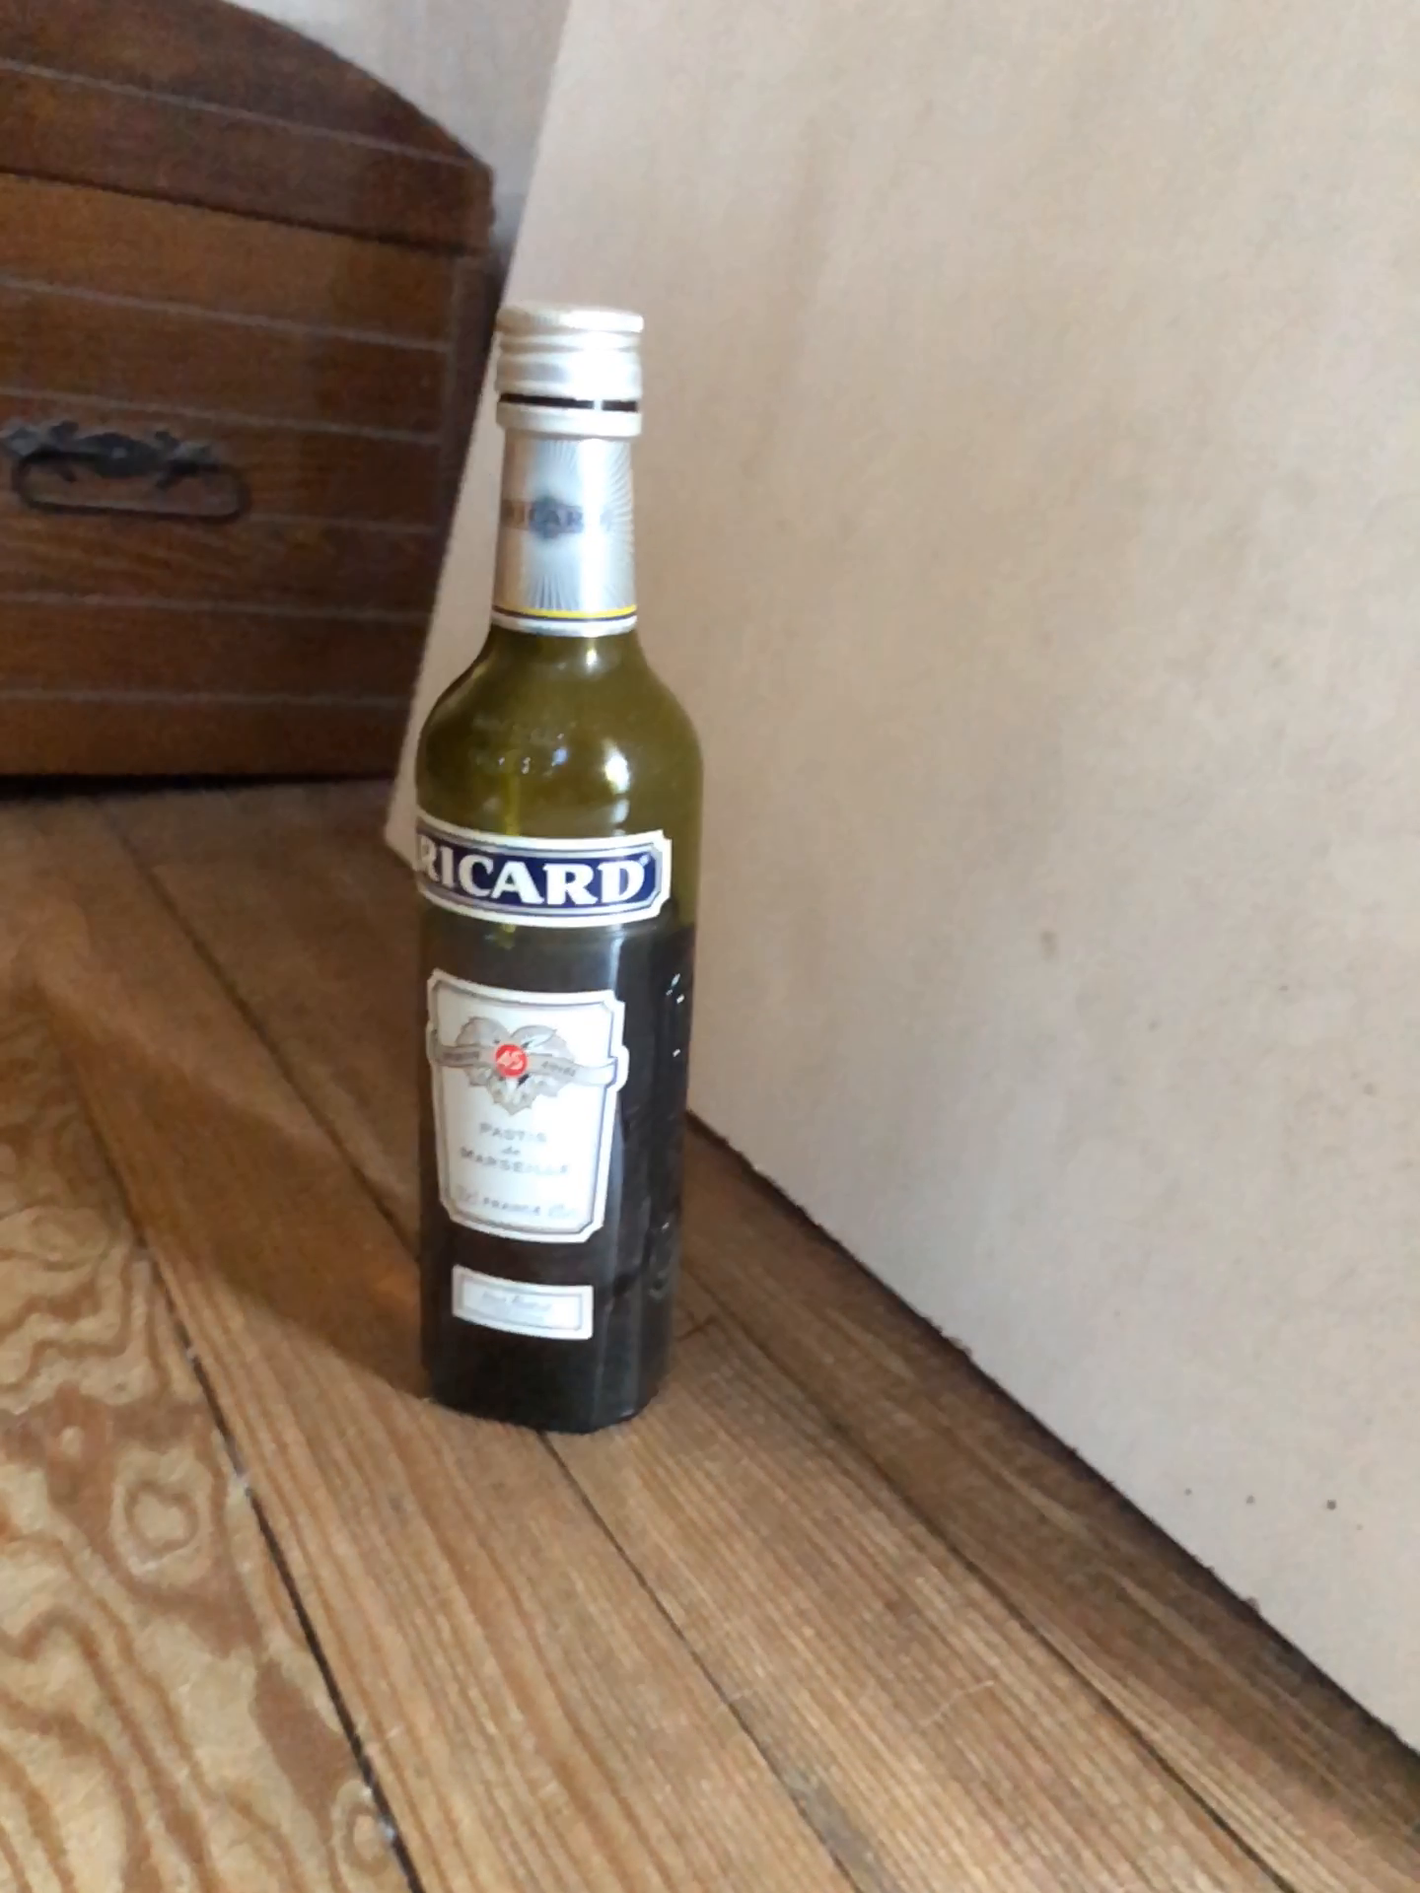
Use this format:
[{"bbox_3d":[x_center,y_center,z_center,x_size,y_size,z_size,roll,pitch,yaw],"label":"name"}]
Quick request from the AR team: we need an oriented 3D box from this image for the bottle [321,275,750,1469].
[{"bbox_3d":[-0.039,-0.011,0.362,0.070,0.259,0.060,7,21,11],"label":"bottle"}]
